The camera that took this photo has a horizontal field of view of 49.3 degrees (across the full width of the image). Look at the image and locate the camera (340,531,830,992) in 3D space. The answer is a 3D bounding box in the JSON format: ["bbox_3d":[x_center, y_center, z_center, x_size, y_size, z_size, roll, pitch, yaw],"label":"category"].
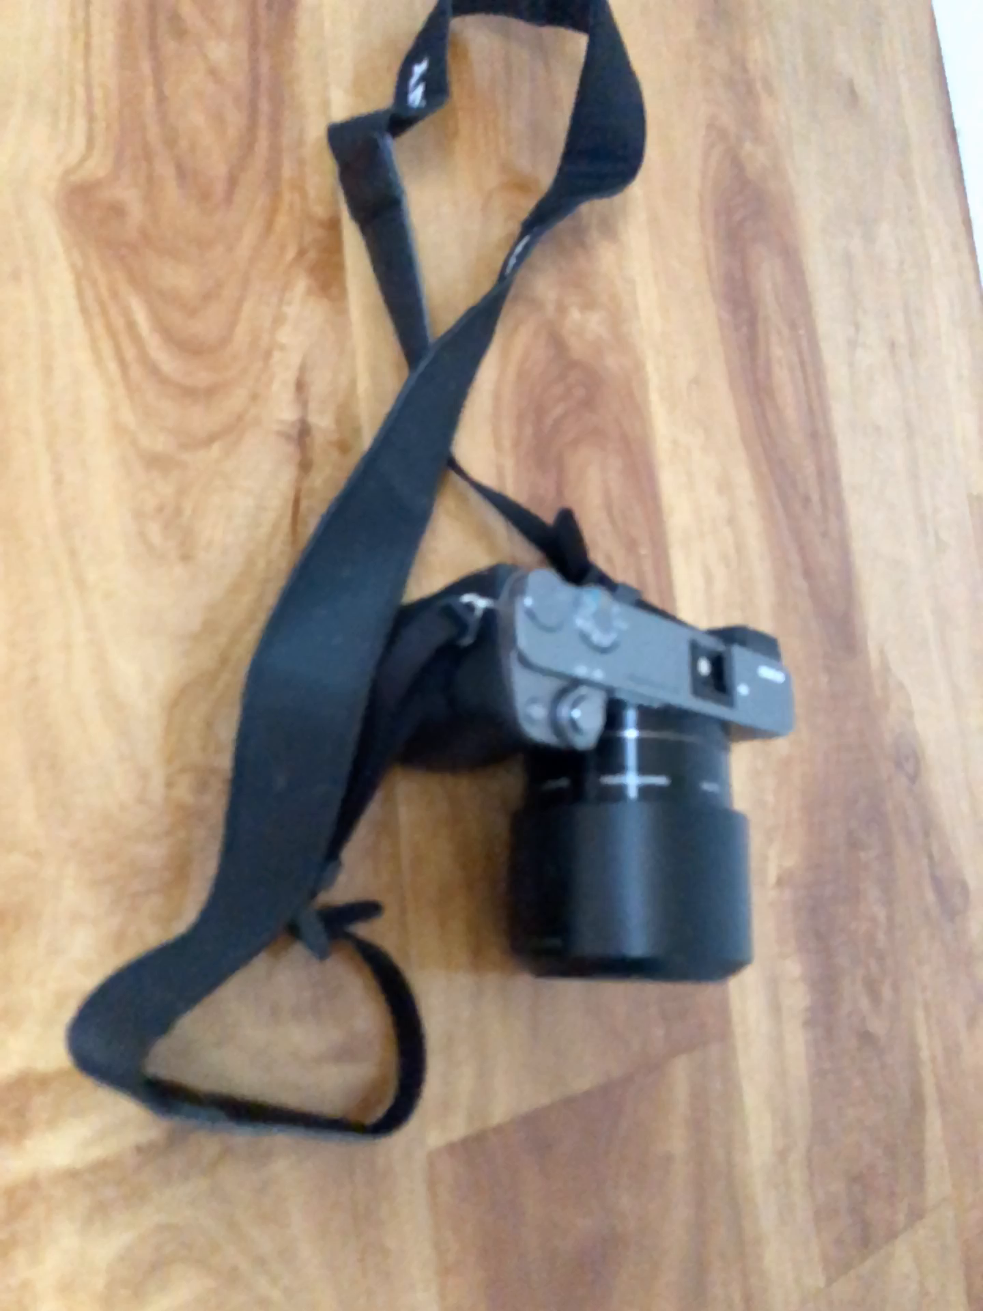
[{"bbox_3d":[0.031,0.040,0.321,0.131,0.070,0.110,14,70,-41],"label":"camera"}]
